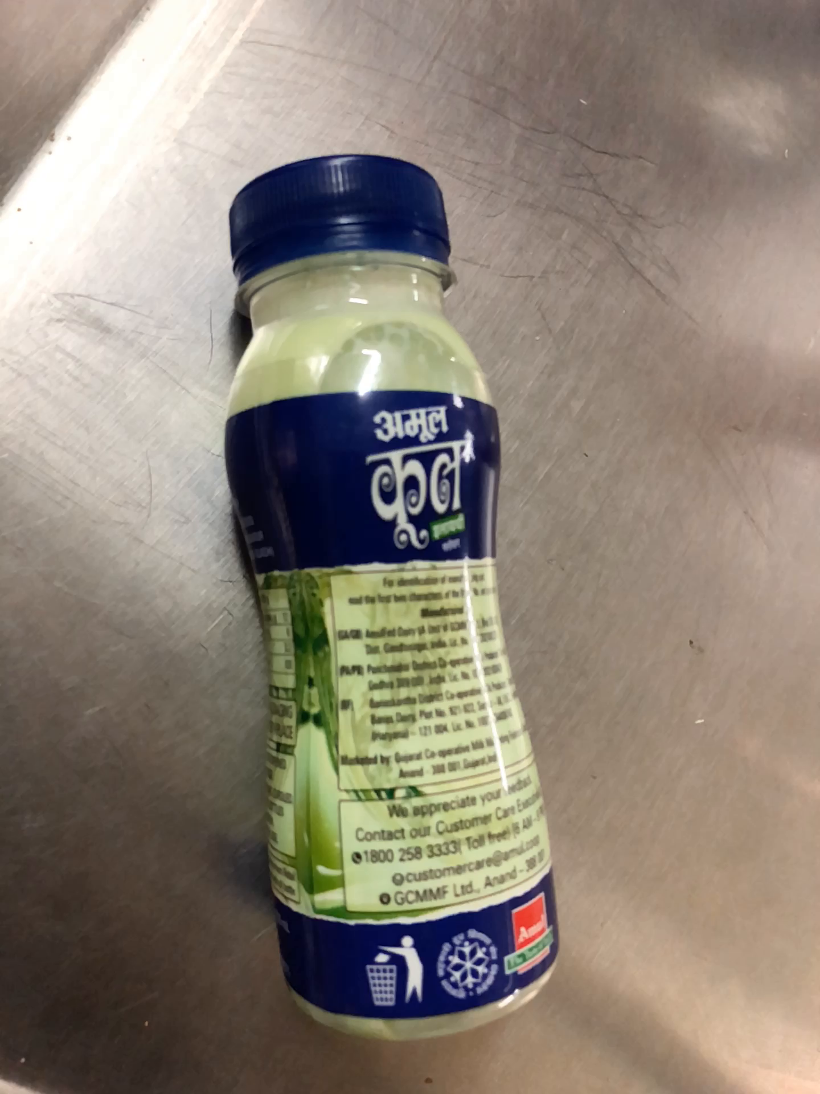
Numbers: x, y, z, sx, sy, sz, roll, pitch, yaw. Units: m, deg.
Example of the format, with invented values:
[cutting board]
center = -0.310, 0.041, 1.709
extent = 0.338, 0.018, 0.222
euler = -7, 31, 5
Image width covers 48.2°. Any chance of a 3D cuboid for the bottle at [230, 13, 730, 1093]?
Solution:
[bottle]
center = 0.008, 0.007, 0.141
extent = 0.050, 0.040, 0.150
euler = -5, 89, -20
